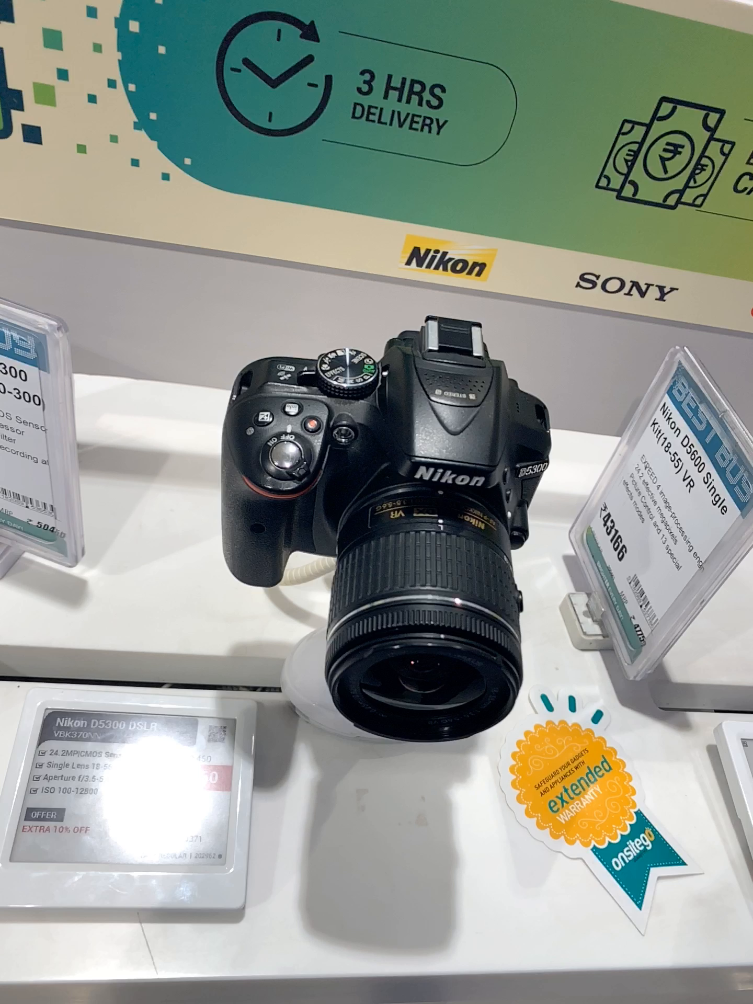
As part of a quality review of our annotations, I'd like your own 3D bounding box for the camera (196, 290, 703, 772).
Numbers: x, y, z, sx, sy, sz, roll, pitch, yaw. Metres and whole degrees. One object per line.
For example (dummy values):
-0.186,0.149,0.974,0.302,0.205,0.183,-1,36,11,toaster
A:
0.010,0.008,0.250,0.118,0.082,0.123,5,44,-11,camera
